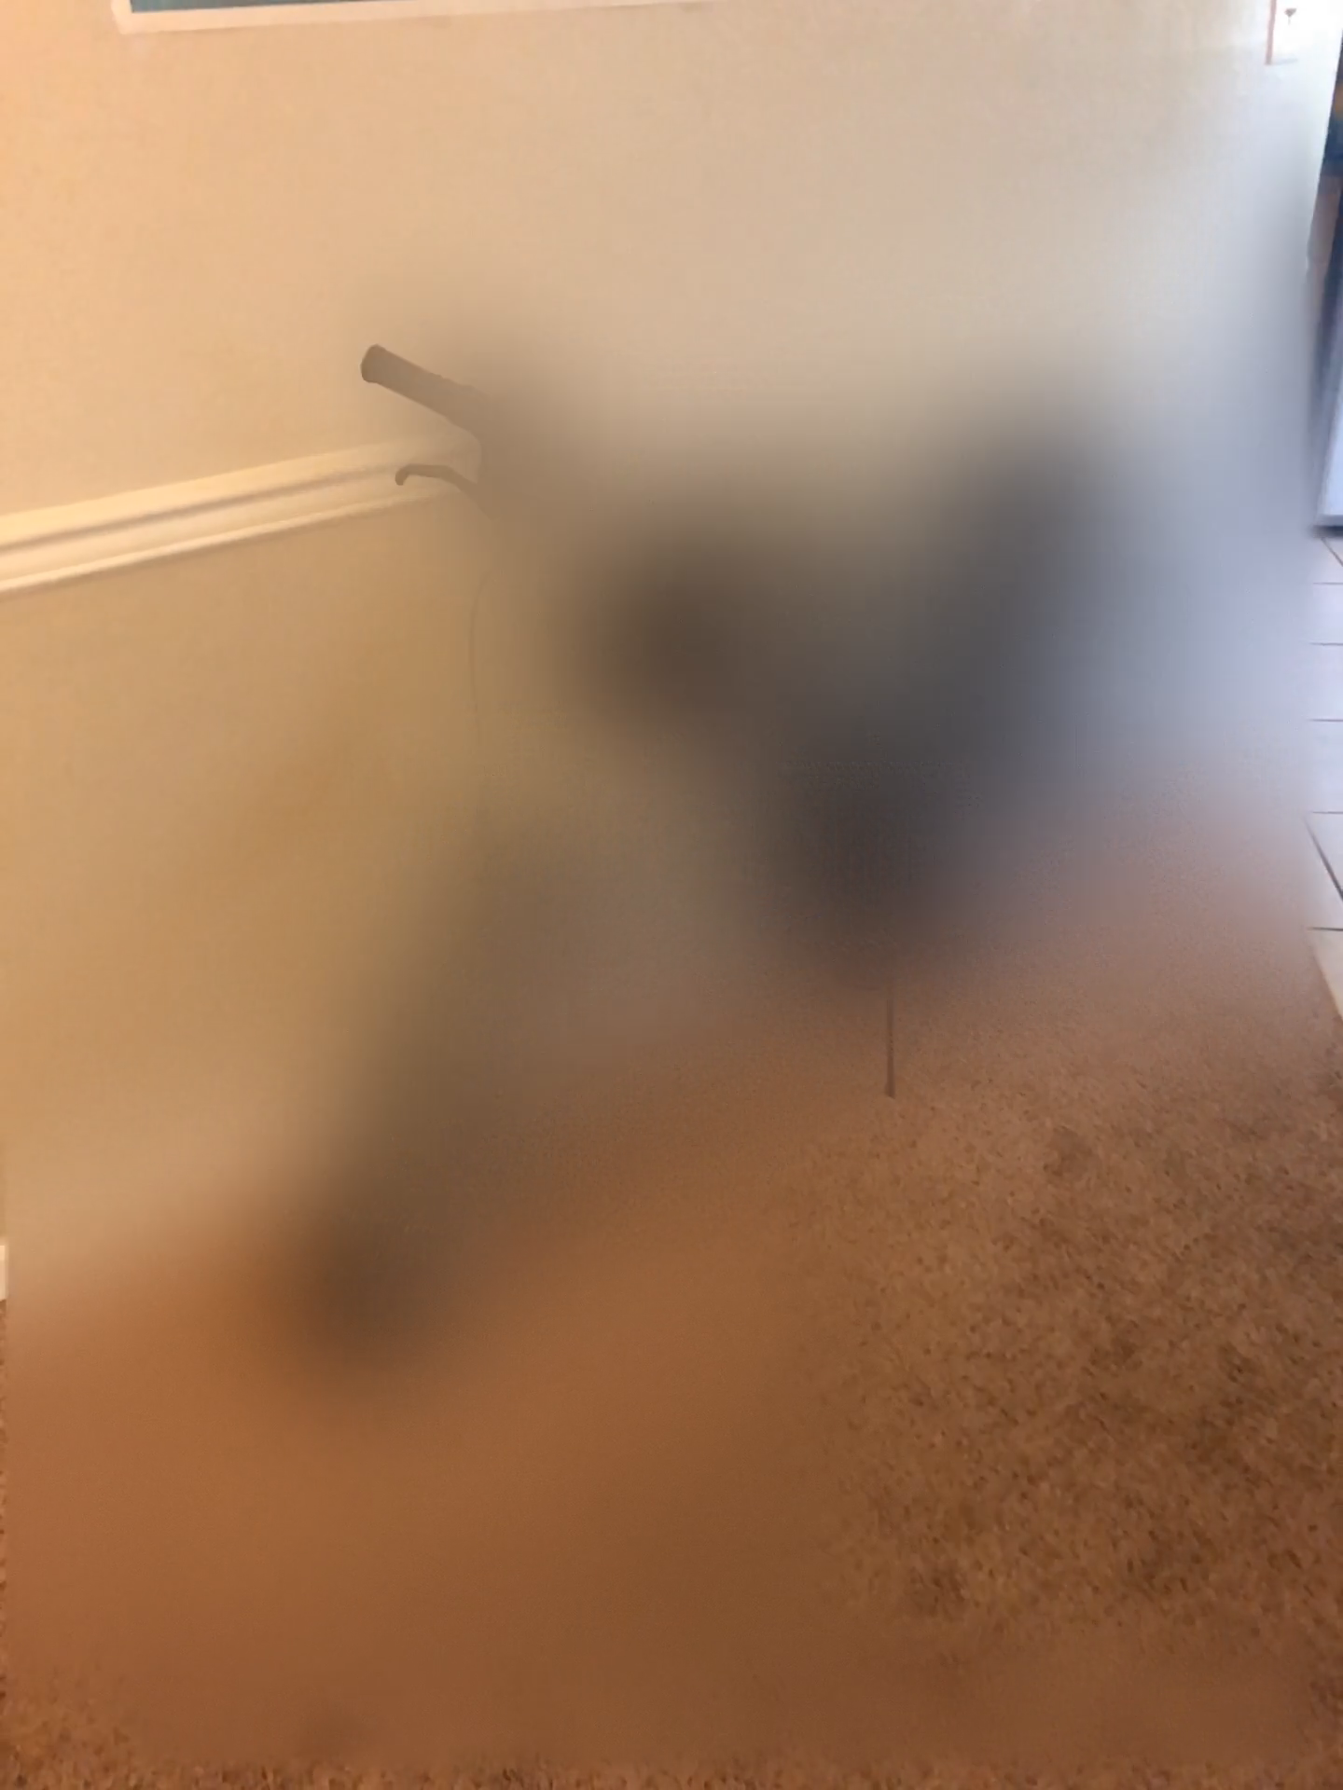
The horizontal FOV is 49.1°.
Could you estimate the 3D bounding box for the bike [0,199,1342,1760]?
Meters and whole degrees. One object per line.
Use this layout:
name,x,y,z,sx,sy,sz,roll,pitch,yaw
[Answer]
bike,0.308,-0.129,1.950,0.680,1.177,1.872,26,42,38
